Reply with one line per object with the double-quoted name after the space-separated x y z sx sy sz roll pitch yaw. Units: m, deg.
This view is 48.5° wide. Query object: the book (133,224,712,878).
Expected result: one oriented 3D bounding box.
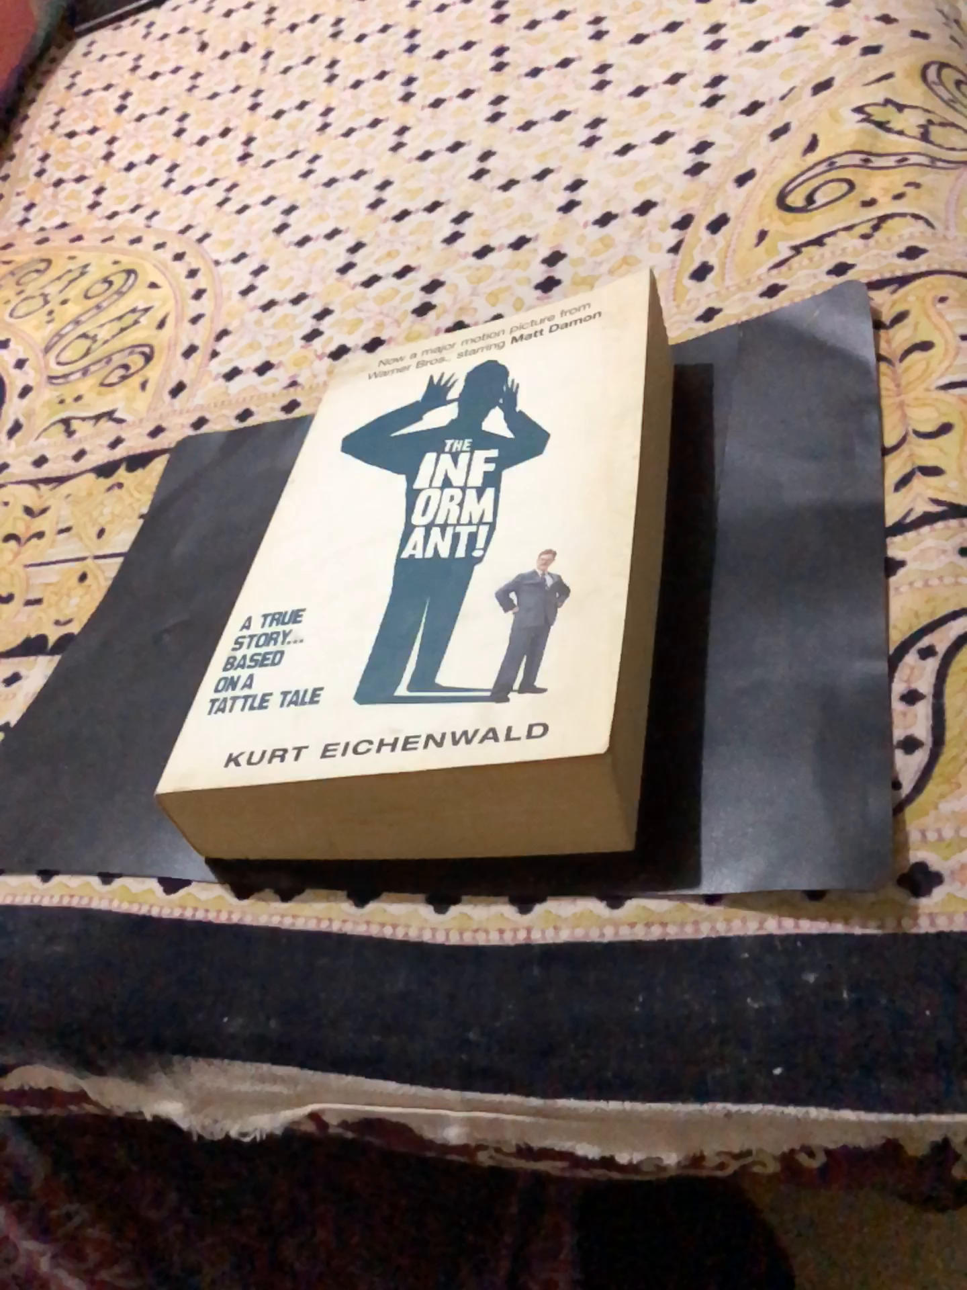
-0.004 -0.040 0.357 0.140 0.050 0.230 -7 47 23 "book"
